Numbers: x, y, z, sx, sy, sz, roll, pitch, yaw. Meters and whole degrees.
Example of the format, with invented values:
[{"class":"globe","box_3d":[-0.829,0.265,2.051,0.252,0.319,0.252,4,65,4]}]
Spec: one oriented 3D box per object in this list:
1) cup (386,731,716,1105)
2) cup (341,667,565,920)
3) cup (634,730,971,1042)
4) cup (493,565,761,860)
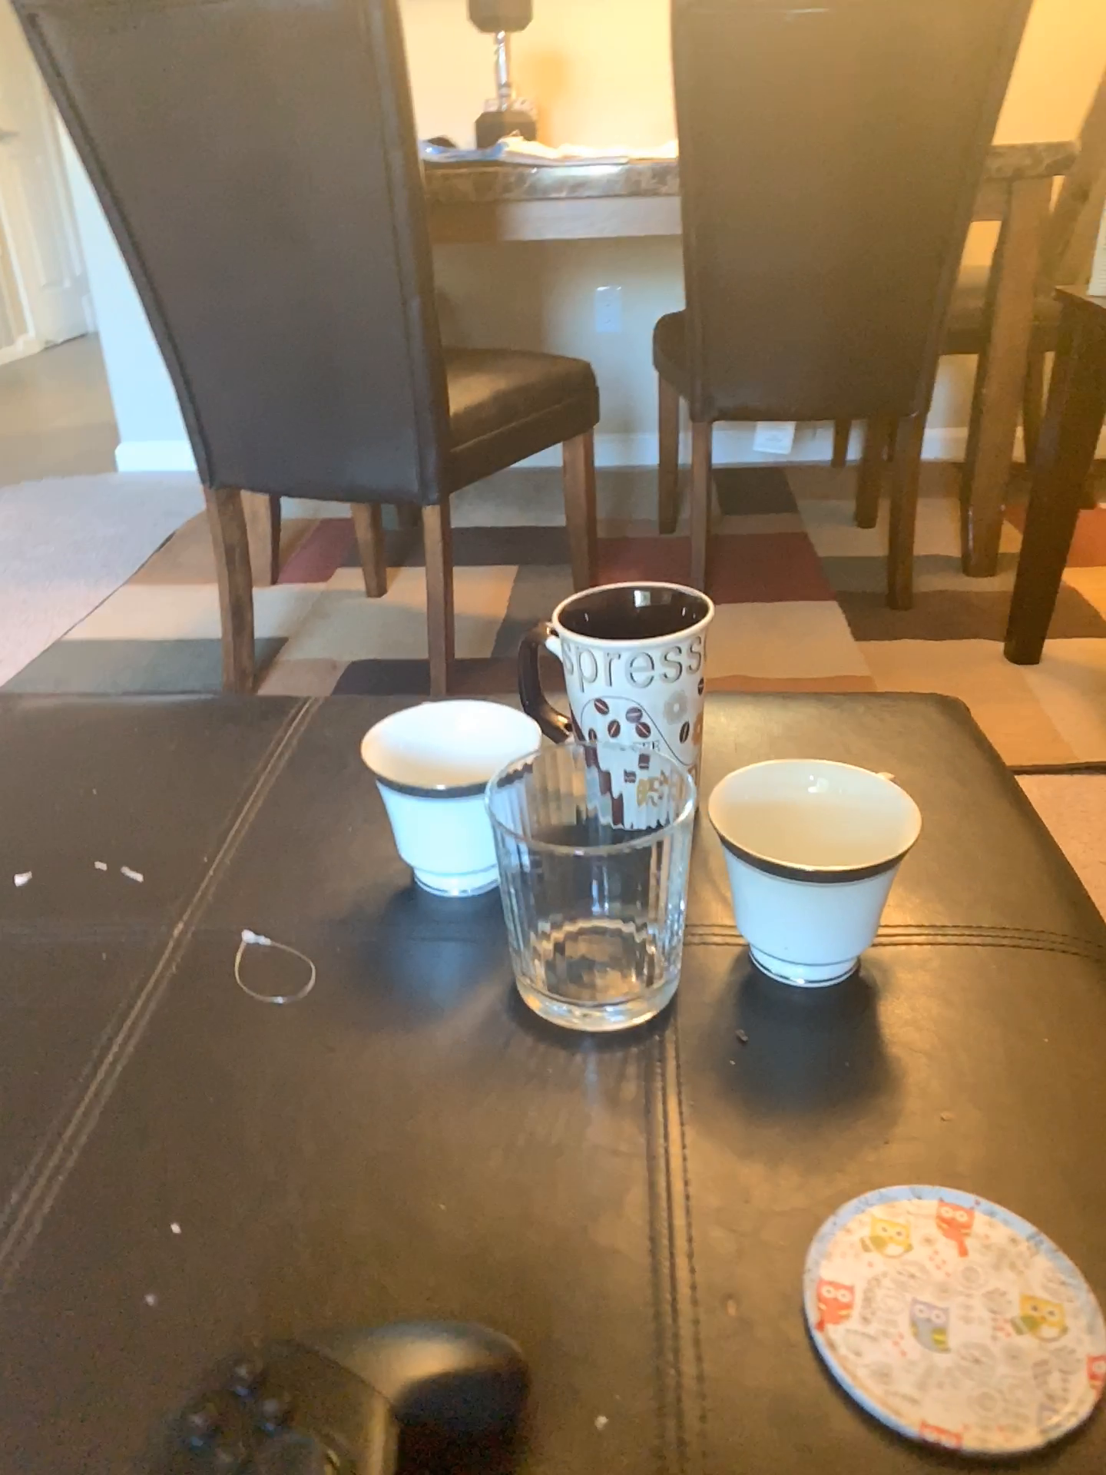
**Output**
[{"class":"cup","box_3d":[0.002,0.074,0.506,0.100,0.099,0.100,-2,28,1]},{"class":"cup","box_3d":[-0.053,0.024,0.578,0.090,0.070,0.111,-9,29,-12]},{"class":"cup","box_3d":[0.113,0.059,0.512,0.100,0.060,0.120,20,35,35]},{"class":"cup","box_3d":[0.041,-0.018,0.619,0.100,0.109,0.100,-2,28,1]}]
